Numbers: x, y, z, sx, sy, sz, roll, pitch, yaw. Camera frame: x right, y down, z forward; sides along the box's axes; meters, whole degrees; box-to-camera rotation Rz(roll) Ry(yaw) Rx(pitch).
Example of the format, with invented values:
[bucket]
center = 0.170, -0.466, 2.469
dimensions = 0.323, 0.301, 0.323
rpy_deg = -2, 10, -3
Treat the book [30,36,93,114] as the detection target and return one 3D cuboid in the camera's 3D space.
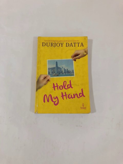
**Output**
[book]
center = 0.001, -0.020, 0.333
dimensions = 0.140, 0.020, 0.190
rpy_deg = 1, 77, -2
